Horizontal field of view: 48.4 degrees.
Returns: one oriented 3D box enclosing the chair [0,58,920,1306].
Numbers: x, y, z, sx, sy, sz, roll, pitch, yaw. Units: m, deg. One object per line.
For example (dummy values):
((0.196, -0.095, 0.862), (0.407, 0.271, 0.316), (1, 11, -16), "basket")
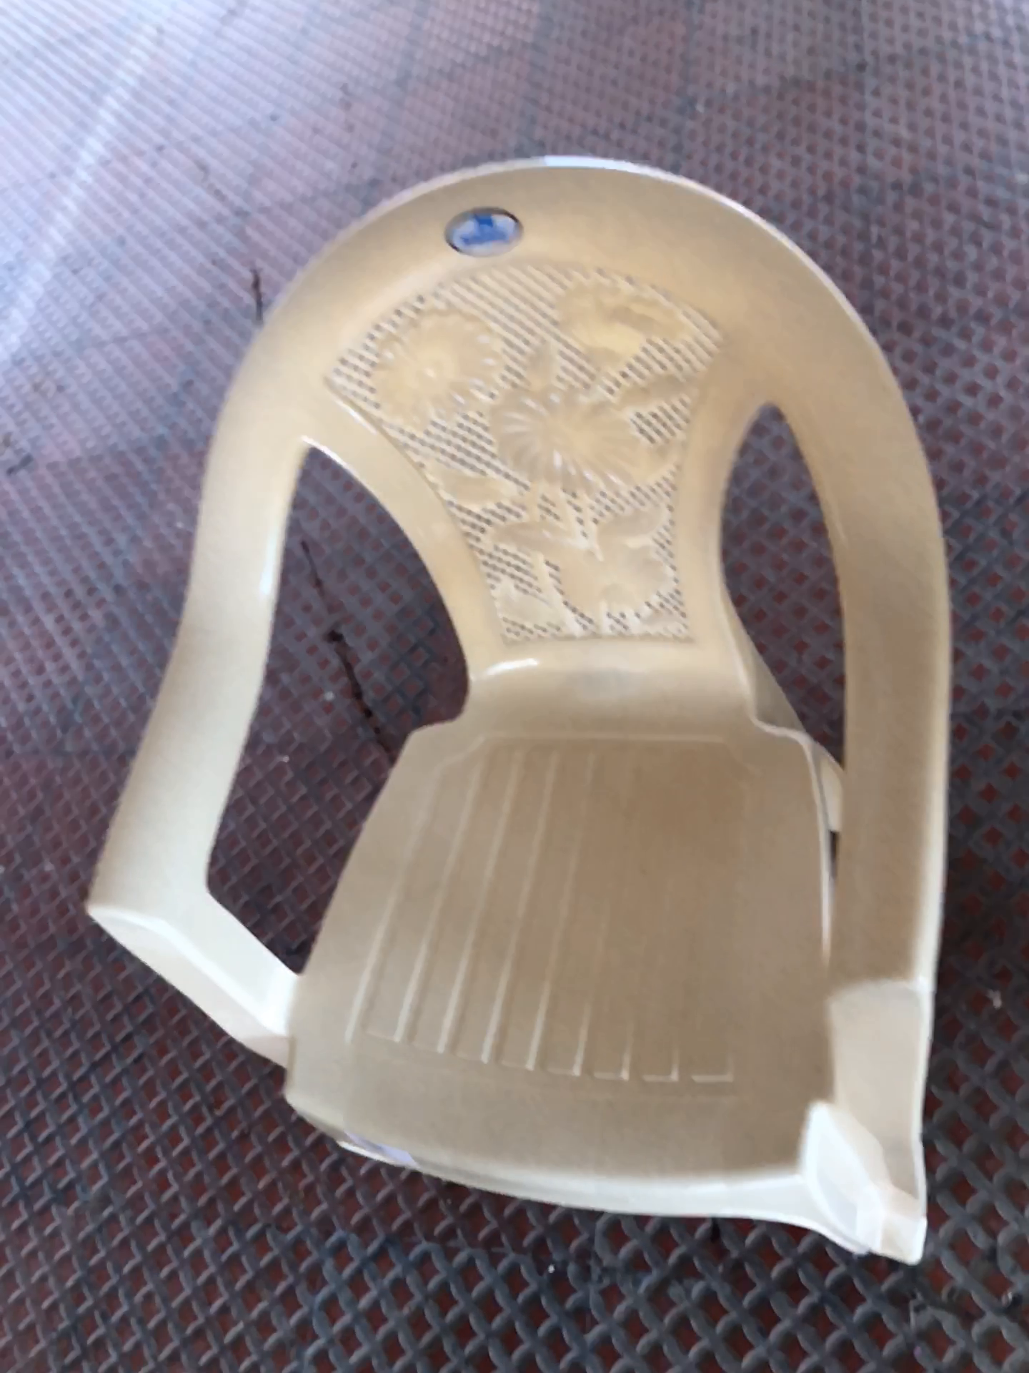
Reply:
((0.026, 0.098, 0.952), (0.530, 0.807, 0.612), (0, 61, 23), "chair")
